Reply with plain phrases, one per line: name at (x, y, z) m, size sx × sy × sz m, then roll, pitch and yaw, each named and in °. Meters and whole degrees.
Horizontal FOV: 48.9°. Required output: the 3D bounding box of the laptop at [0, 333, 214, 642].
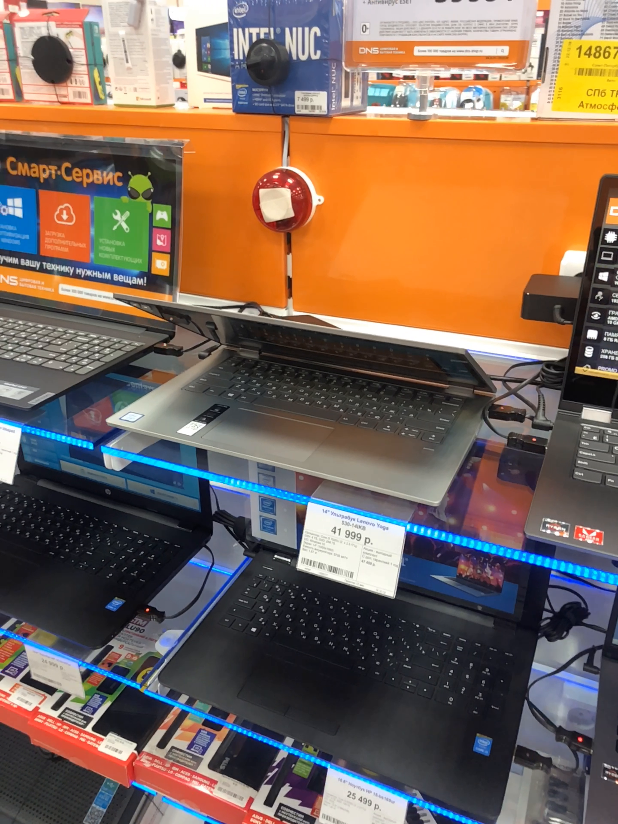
laptop at (-0.347, 0.076, 0.888) m, size 0.333 × 0.222 × 0.244 m, roll 13°, pitch 32°, yaw 22°

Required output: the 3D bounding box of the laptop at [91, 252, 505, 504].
laptop at (-0.002, -0.054, 0.635) m, size 0.313 × 0.110 × 0.210 m, roll 12°, pitch 29°, yaw 22°

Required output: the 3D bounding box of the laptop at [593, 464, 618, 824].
laptop at (0.430, 0.240, 0.557) m, size 0.329 × 0.228 × 0.236 m, roll 11°, pitch 29°, yaw 21°

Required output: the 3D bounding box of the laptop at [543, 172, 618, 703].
laptop at (0.352, -0.029, 0.473) m, size 0.328 × 0.210 × 0.247 m, roll 11°, pitch 29°, yaw 20°

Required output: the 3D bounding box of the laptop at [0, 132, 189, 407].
laptop at (-0.364, -0.186, 0.772) m, size 0.329 × 0.219 × 0.277 m, roll 11°, pitch 28°, yaw 21°

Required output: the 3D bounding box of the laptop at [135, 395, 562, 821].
laptop at (0.050, 0.169, 0.724) m, size 0.361 × 0.223 × 0.261 m, roll 12°, pitch 29°, yaw 23°
